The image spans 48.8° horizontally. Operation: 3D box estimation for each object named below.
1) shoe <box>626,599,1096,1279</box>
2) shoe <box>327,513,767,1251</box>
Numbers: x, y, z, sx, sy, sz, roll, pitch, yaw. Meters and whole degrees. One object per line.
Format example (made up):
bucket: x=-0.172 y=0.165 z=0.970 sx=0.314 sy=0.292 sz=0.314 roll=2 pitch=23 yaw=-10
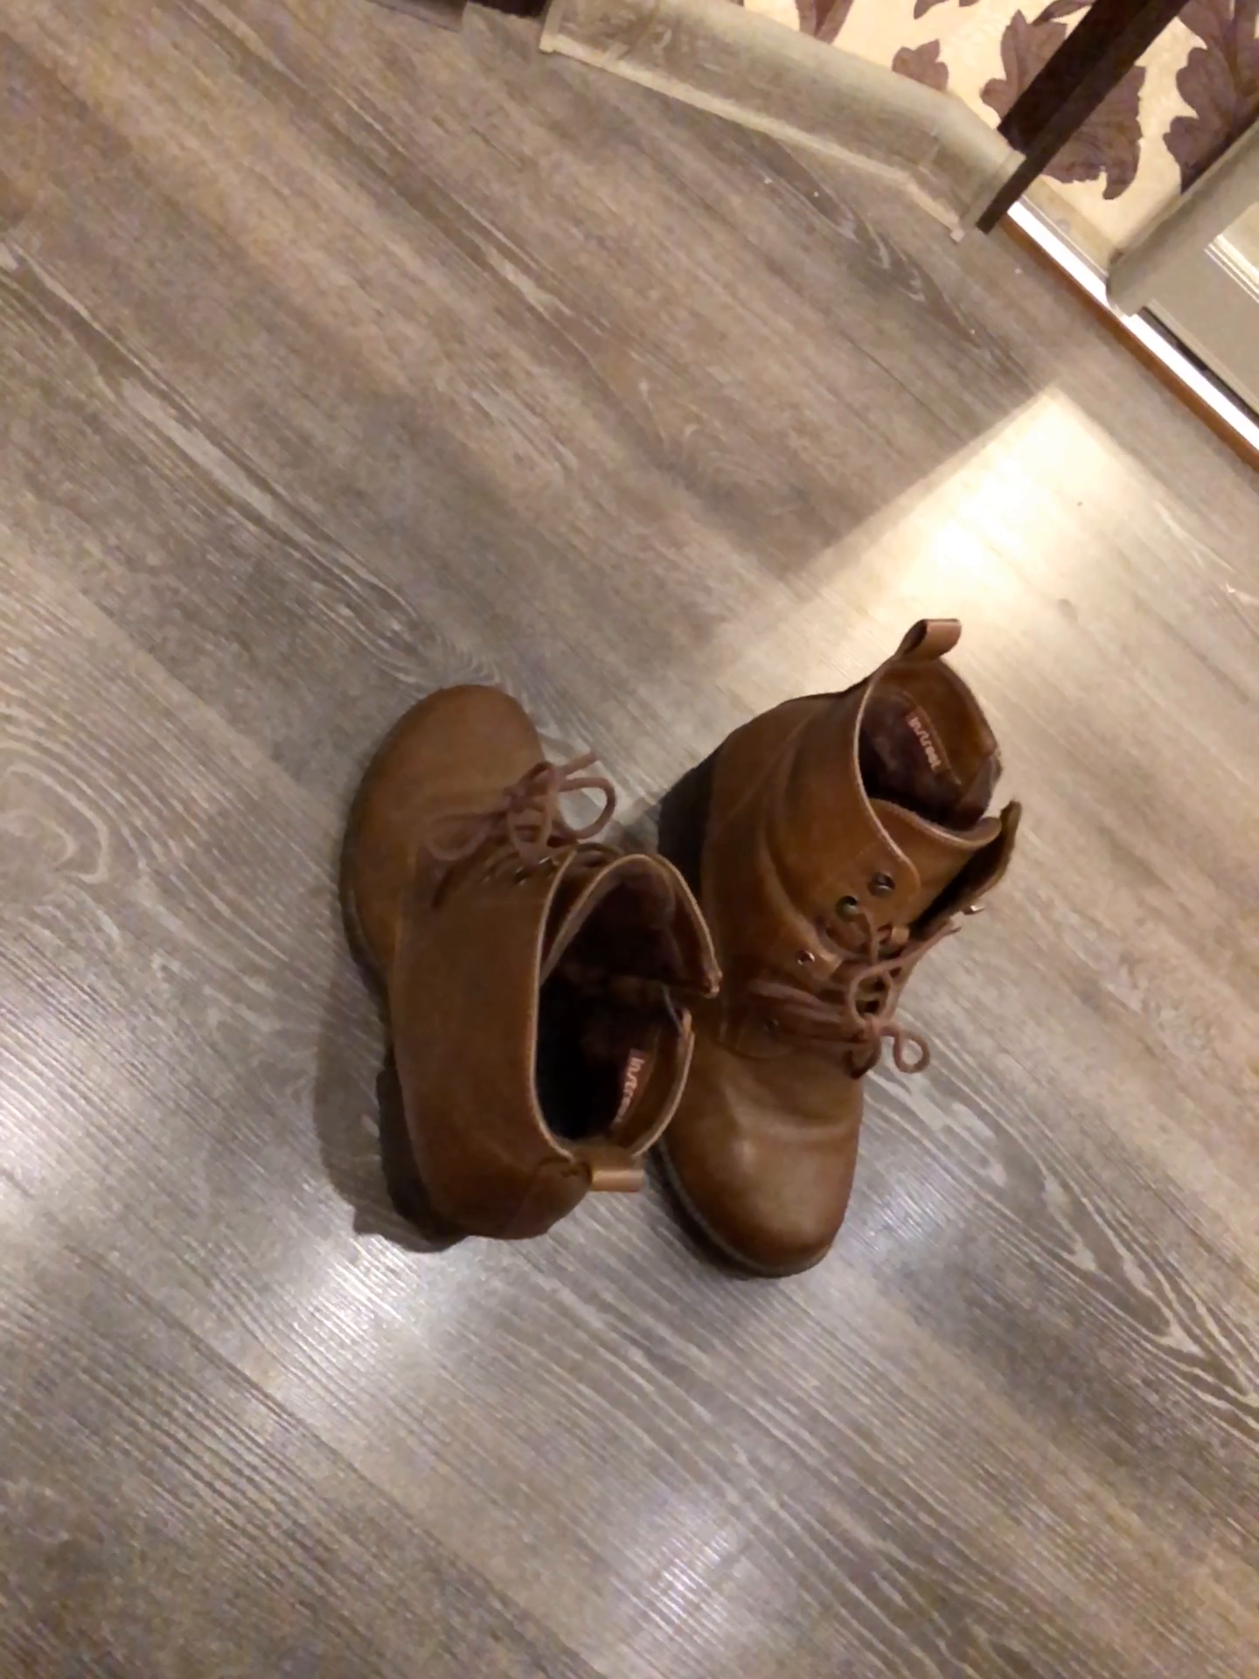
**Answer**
shoe: x=0.076 y=0.054 z=0.549 sx=0.090 sy=0.189 sz=0.220 roll=8 pitch=69 yaw=-19
shoe: x=-0.044 y=0.027 z=0.505 sx=0.100 sy=0.169 sz=0.220 roll=2 pitch=71 yaw=-21
